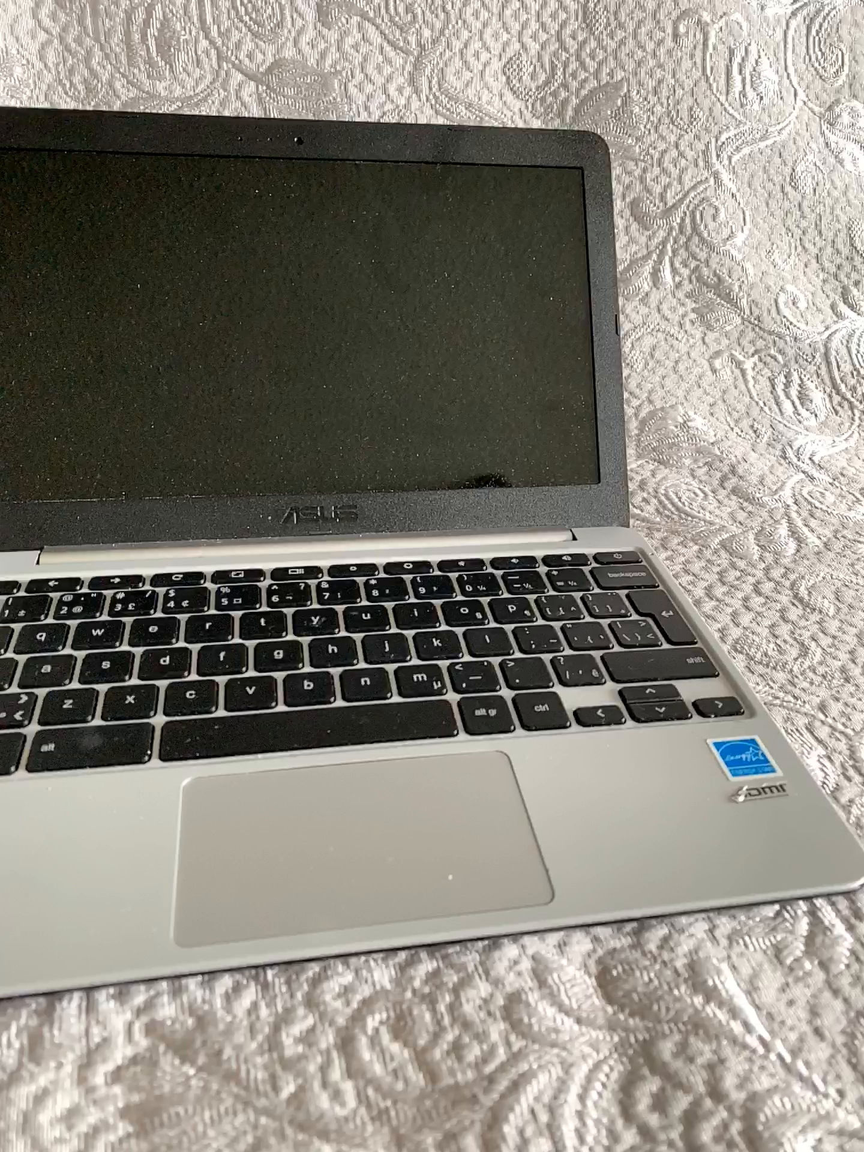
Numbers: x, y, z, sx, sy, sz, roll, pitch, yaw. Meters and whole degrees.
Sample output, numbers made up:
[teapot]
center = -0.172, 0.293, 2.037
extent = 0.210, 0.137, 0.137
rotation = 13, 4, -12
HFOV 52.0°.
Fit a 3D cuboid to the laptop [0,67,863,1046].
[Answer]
[laptop]
center = -0.030, -0.048, 0.305
extent = 0.288, 0.127, 0.288
rotation = -2, 40, -18
